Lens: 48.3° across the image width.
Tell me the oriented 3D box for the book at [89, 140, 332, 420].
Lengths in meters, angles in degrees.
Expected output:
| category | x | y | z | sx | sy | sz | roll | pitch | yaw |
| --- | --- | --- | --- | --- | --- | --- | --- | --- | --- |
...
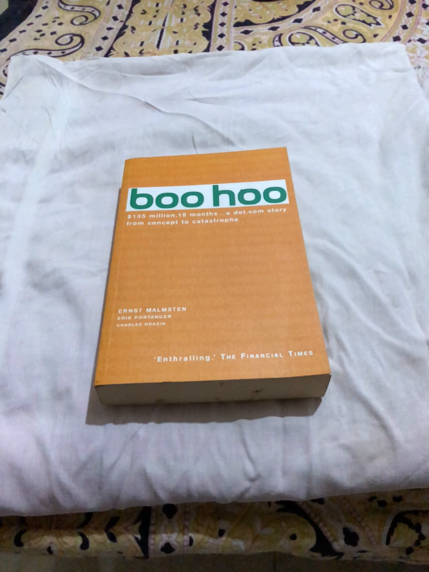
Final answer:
| category | x | y | z | sx | sy | sz | roll | pitch | yaw |
| --- | --- | --- | --- | --- | --- | --- | --- | --- | --- |
| book | -0.005 | -0.016 | 0.331 | 0.130 | 0.040 | 0.201 | -5 | 53 | 3 |
